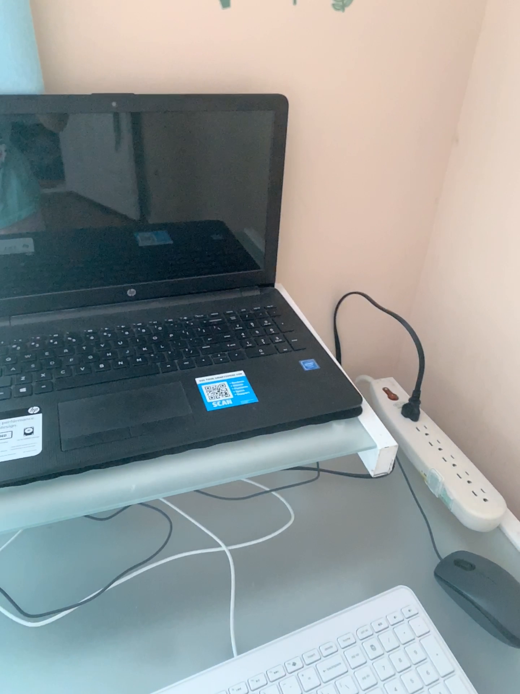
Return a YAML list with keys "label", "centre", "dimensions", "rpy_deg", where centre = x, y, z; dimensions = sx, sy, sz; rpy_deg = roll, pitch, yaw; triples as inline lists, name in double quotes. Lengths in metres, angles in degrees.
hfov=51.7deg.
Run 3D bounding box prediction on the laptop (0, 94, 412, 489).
- label: "laptop"
  centre: [-0.108, -0.081, 0.486]
  dimensions: [0.358, 0.225, 0.246]
  rpy_deg: [-9, 36, -19]
